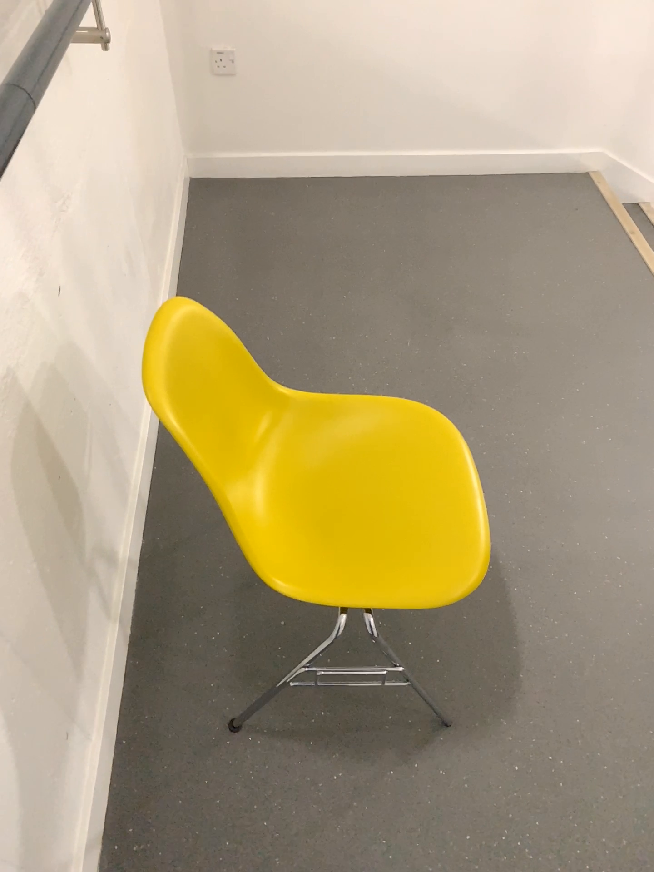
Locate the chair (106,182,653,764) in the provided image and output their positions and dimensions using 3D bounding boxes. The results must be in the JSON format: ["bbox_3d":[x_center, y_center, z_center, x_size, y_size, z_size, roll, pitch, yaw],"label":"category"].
[{"bbox_3d":[0.031,0.105,1.170,0.540,0.823,0.635,-2,49,-3],"label":"chair"}]
